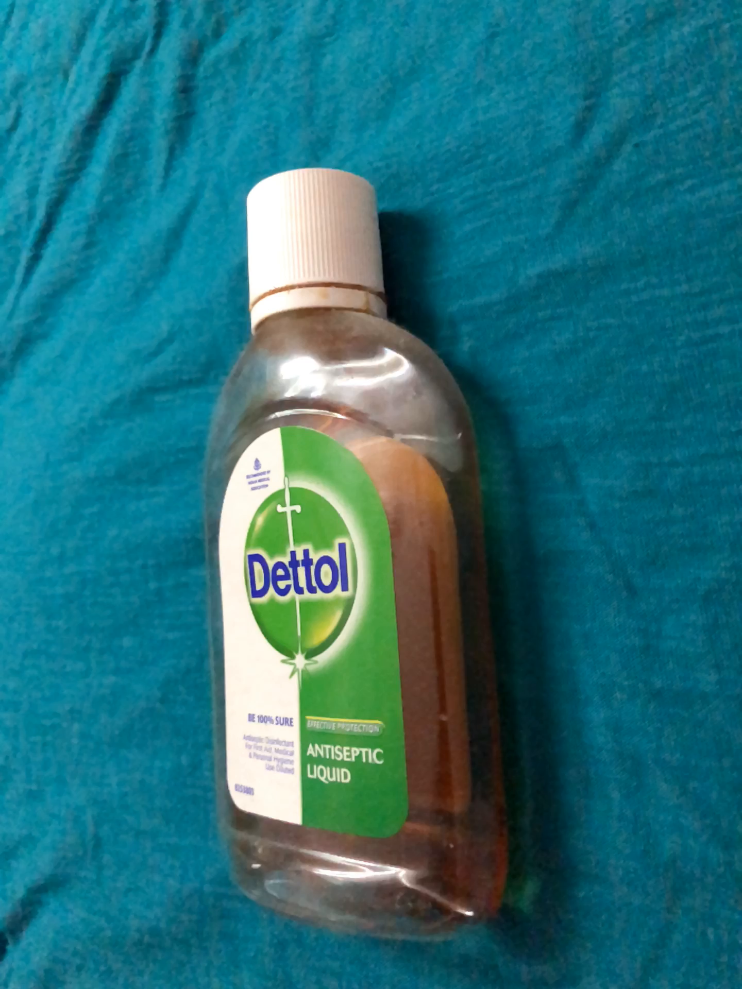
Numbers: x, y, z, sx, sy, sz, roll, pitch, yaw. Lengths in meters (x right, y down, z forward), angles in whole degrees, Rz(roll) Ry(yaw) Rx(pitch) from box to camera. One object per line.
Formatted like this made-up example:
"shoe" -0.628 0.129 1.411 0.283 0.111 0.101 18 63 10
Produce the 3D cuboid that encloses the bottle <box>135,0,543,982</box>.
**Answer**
"bottle" -0.012 -0.002 0.191 0.080 0.040 0.180 -8 80 36
